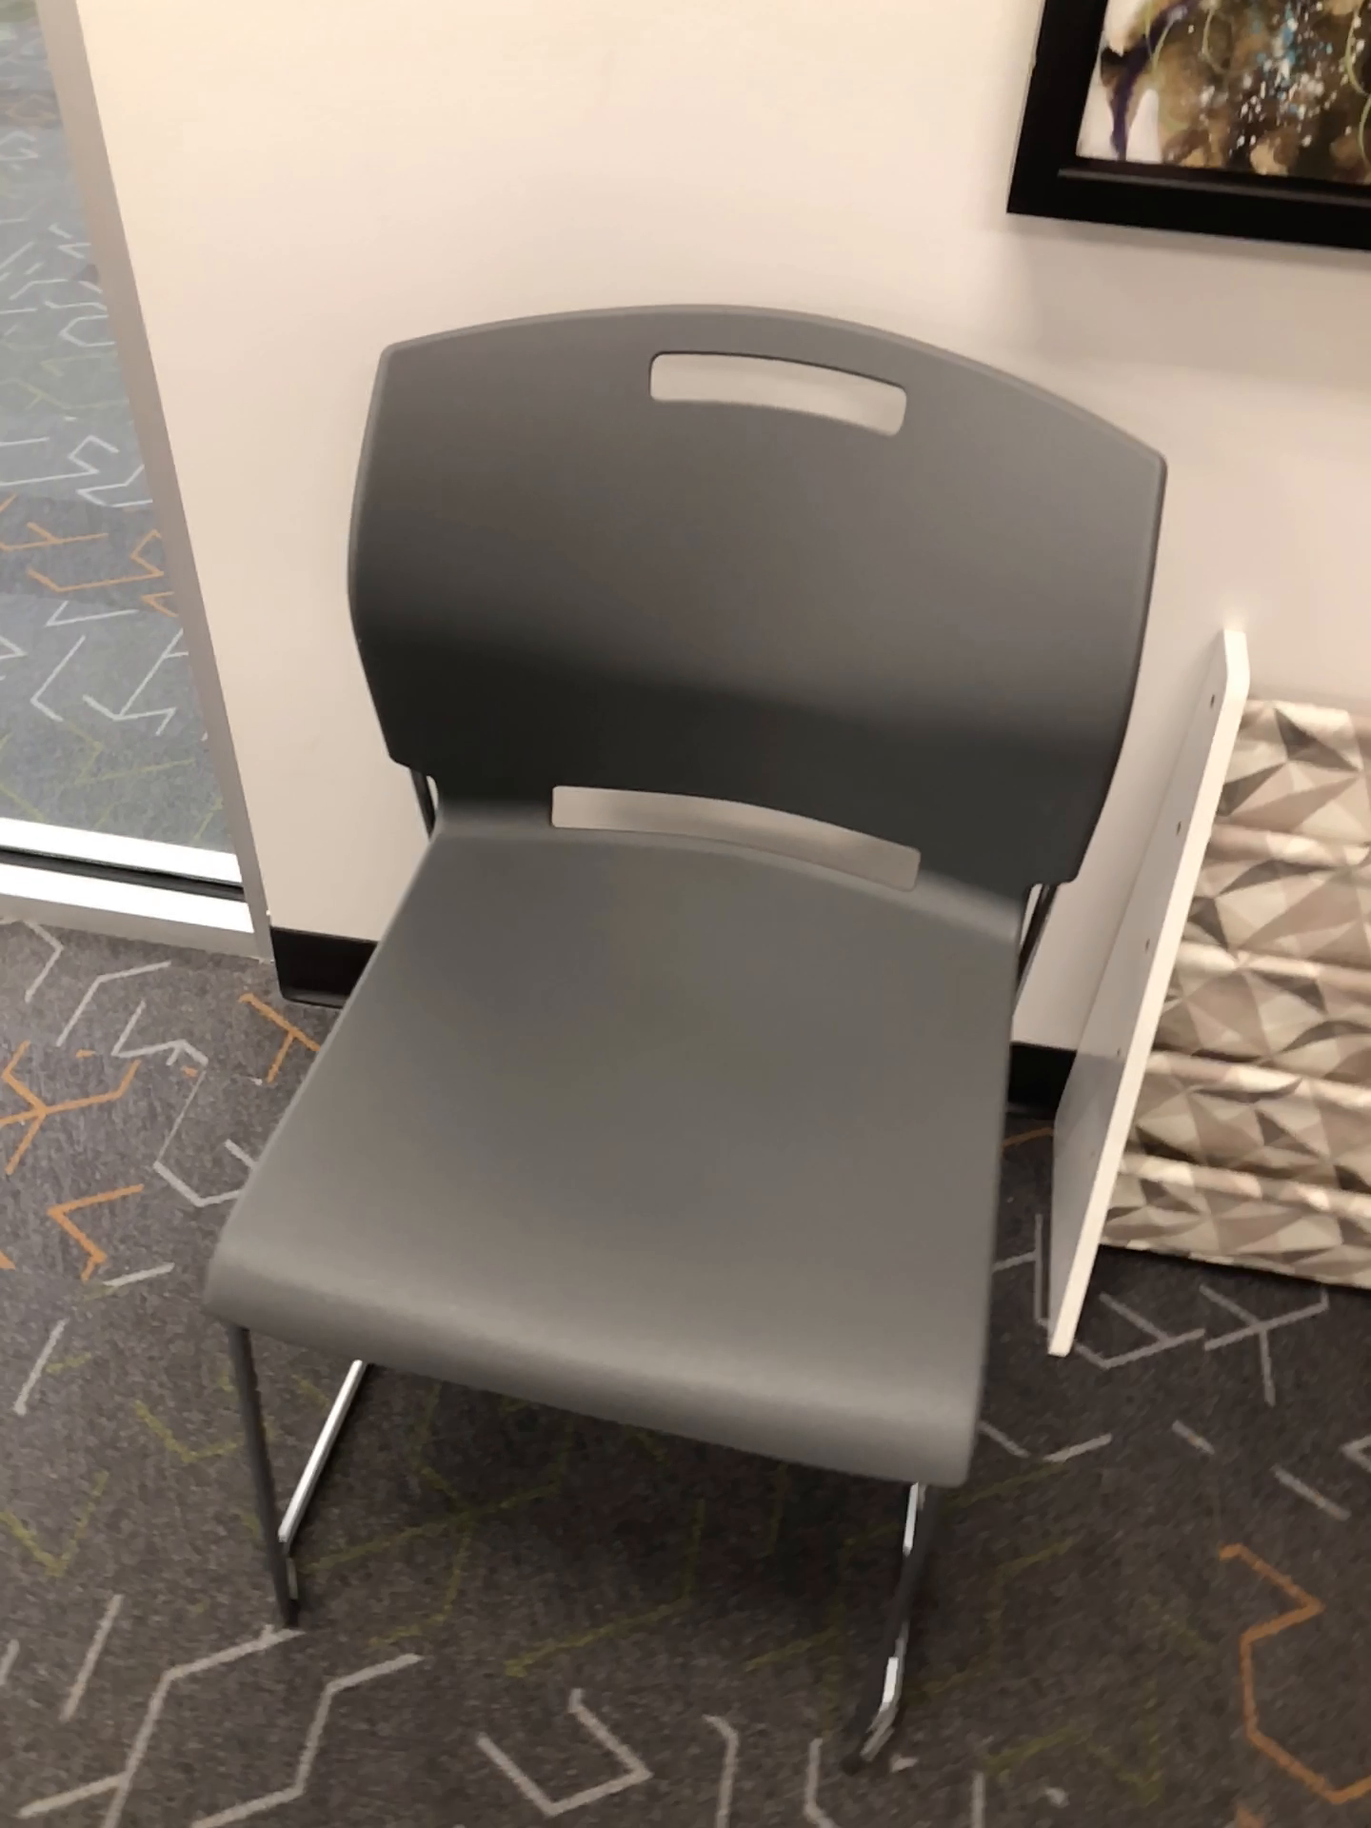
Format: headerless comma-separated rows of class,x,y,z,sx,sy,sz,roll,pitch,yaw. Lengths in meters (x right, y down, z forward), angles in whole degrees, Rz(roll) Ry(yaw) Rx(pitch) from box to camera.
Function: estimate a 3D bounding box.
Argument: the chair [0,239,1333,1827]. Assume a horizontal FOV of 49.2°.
chair,-0.017,0.076,1.020,0.580,0.735,0.674,10,45,7
